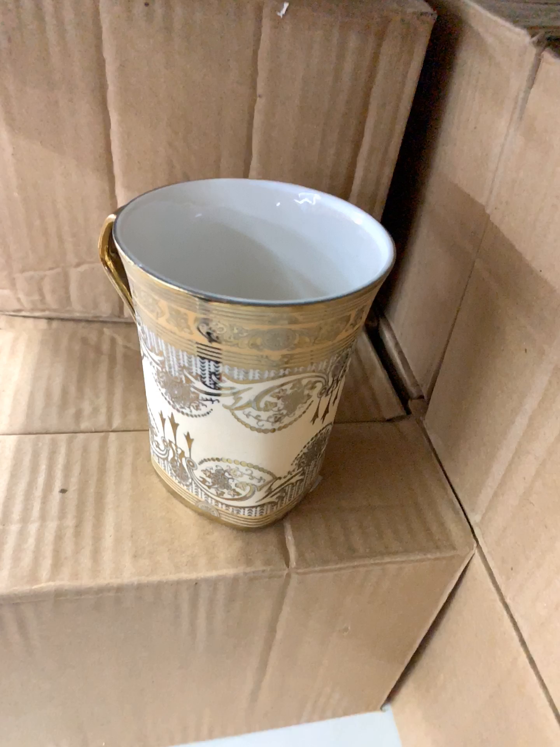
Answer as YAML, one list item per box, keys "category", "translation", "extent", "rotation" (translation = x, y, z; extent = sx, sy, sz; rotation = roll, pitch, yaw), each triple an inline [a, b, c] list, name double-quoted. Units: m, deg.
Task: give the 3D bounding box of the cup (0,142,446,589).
- category: "cup"
  translation: [-0.021, -0.011, 0.202]
  extent: [0.110, 0.089, 0.080]
  rotation: [27, 44, 24]
